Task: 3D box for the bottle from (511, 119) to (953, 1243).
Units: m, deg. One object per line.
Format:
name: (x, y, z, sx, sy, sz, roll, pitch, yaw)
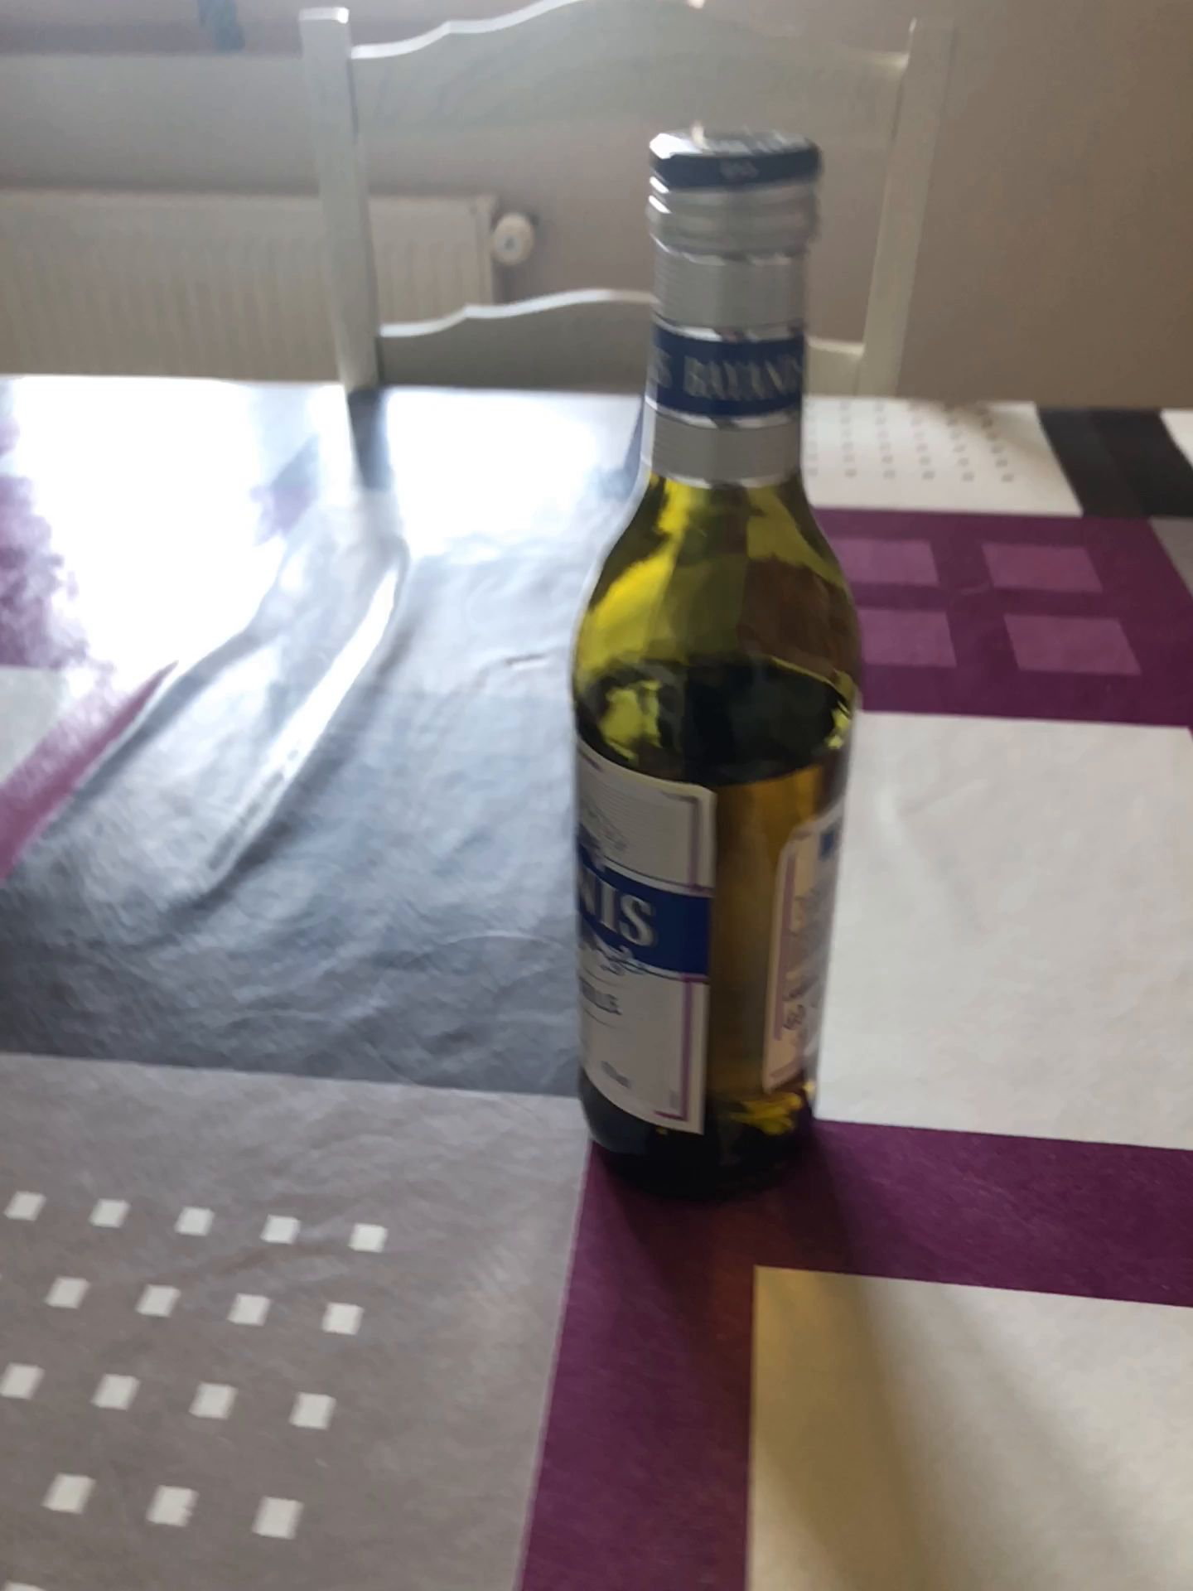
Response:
bottle: (0.025, -0.009, 0.309, 0.070, 0.258, 0.070, -1, 33, 1)
